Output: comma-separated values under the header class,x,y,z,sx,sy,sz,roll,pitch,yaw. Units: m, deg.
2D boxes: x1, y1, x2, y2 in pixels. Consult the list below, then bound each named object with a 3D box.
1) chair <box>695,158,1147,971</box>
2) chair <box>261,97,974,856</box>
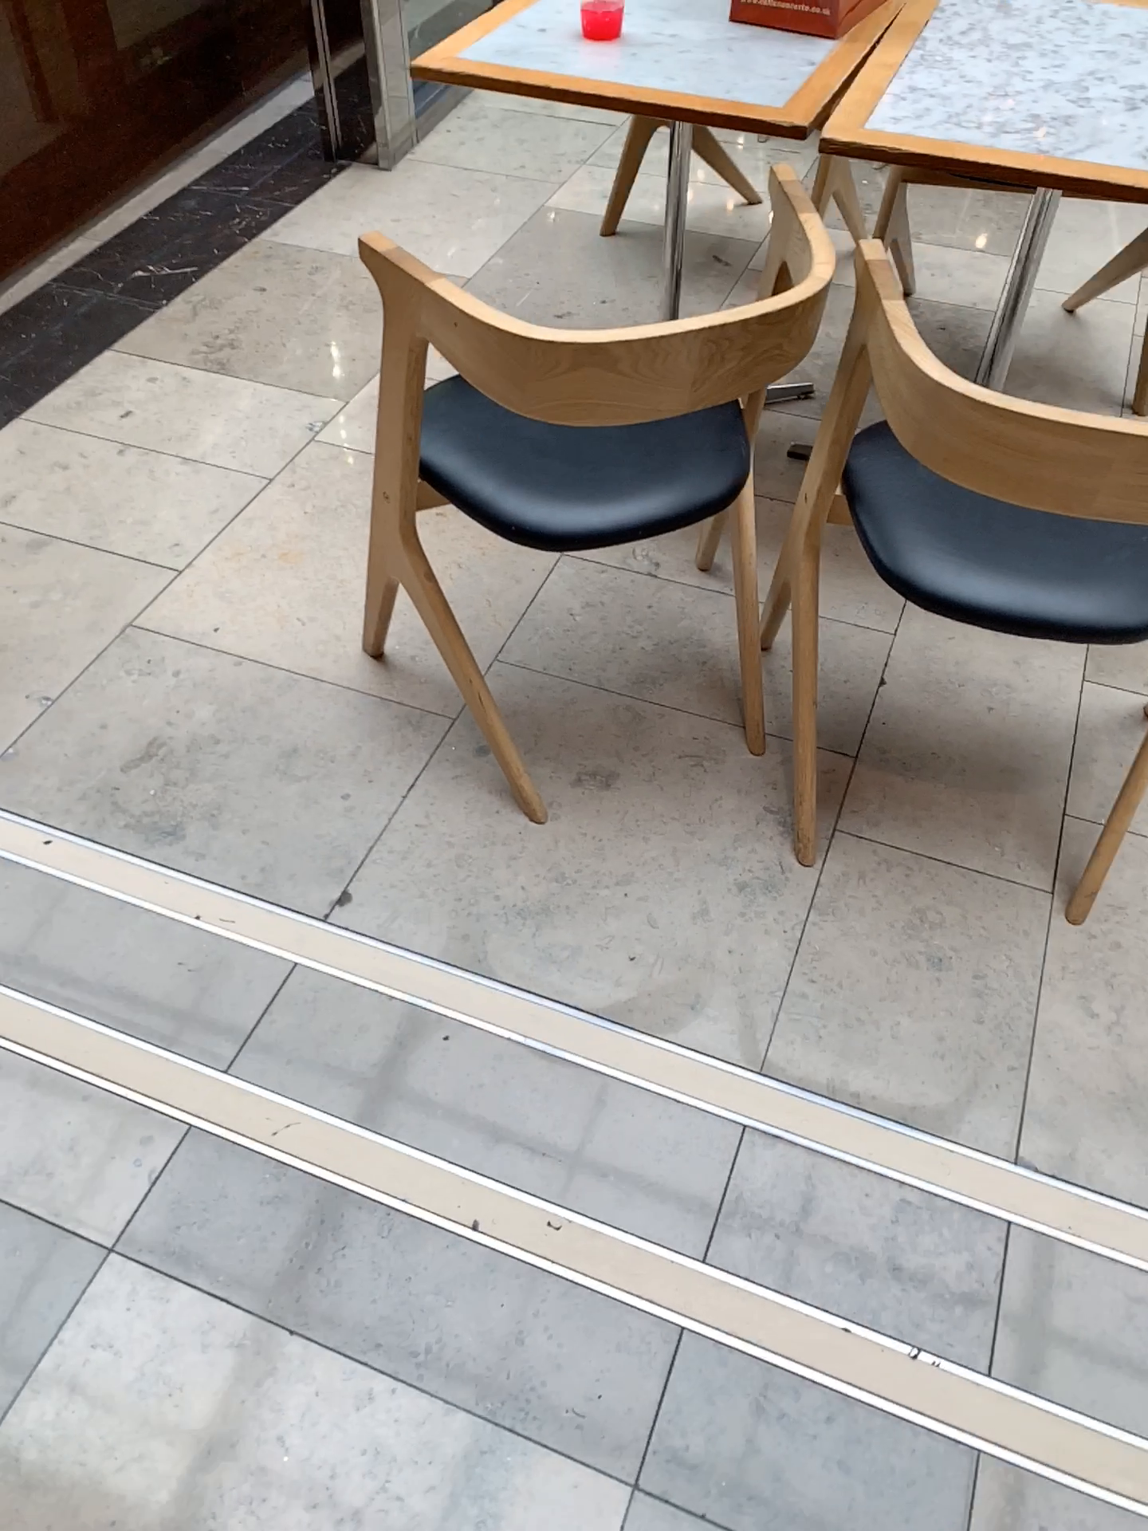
class,x,y,z,sx,sy,sz,roll,pitch,yaw
chair,0.536,-0.234,1.427,0.634,0.717,0.534,11,48,10
chair,0.025,-0.380,1.553,0.644,0.707,0.503,-17,50,-15
